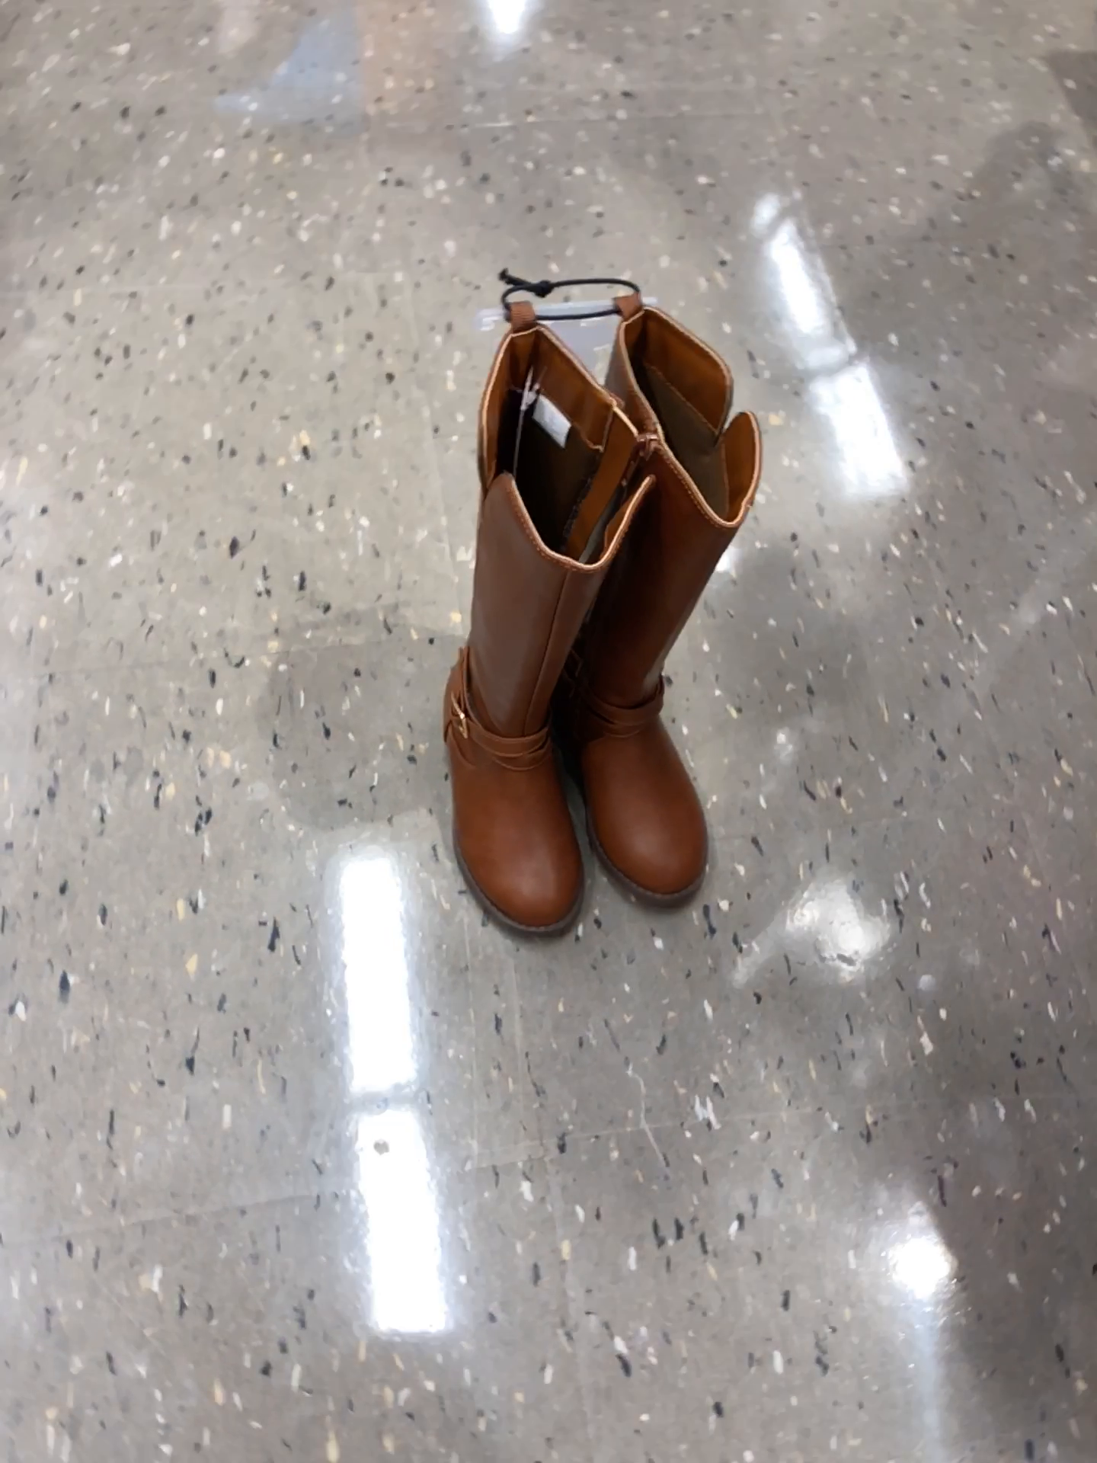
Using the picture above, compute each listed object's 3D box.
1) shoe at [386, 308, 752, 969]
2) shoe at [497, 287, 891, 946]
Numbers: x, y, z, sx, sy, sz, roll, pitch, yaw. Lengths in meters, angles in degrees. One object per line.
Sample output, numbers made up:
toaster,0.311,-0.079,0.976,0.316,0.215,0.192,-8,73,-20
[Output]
shoe,-0.012,-0.024,0.565,0.070,0.270,0.180,-12,64,-17
shoe,0.046,-0.036,0.585,0.070,0.270,0.190,-17,66,-13
